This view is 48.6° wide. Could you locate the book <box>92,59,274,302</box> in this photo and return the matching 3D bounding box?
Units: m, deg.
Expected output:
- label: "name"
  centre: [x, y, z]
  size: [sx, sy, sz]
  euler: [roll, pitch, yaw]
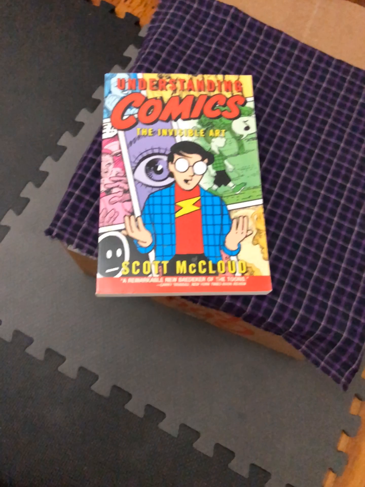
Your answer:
- label: "book"
  centre: [-0.002, -0.076, 0.428]
  size: [0.170, 0.020, 0.271]
  euler: [0, 72, -4]
